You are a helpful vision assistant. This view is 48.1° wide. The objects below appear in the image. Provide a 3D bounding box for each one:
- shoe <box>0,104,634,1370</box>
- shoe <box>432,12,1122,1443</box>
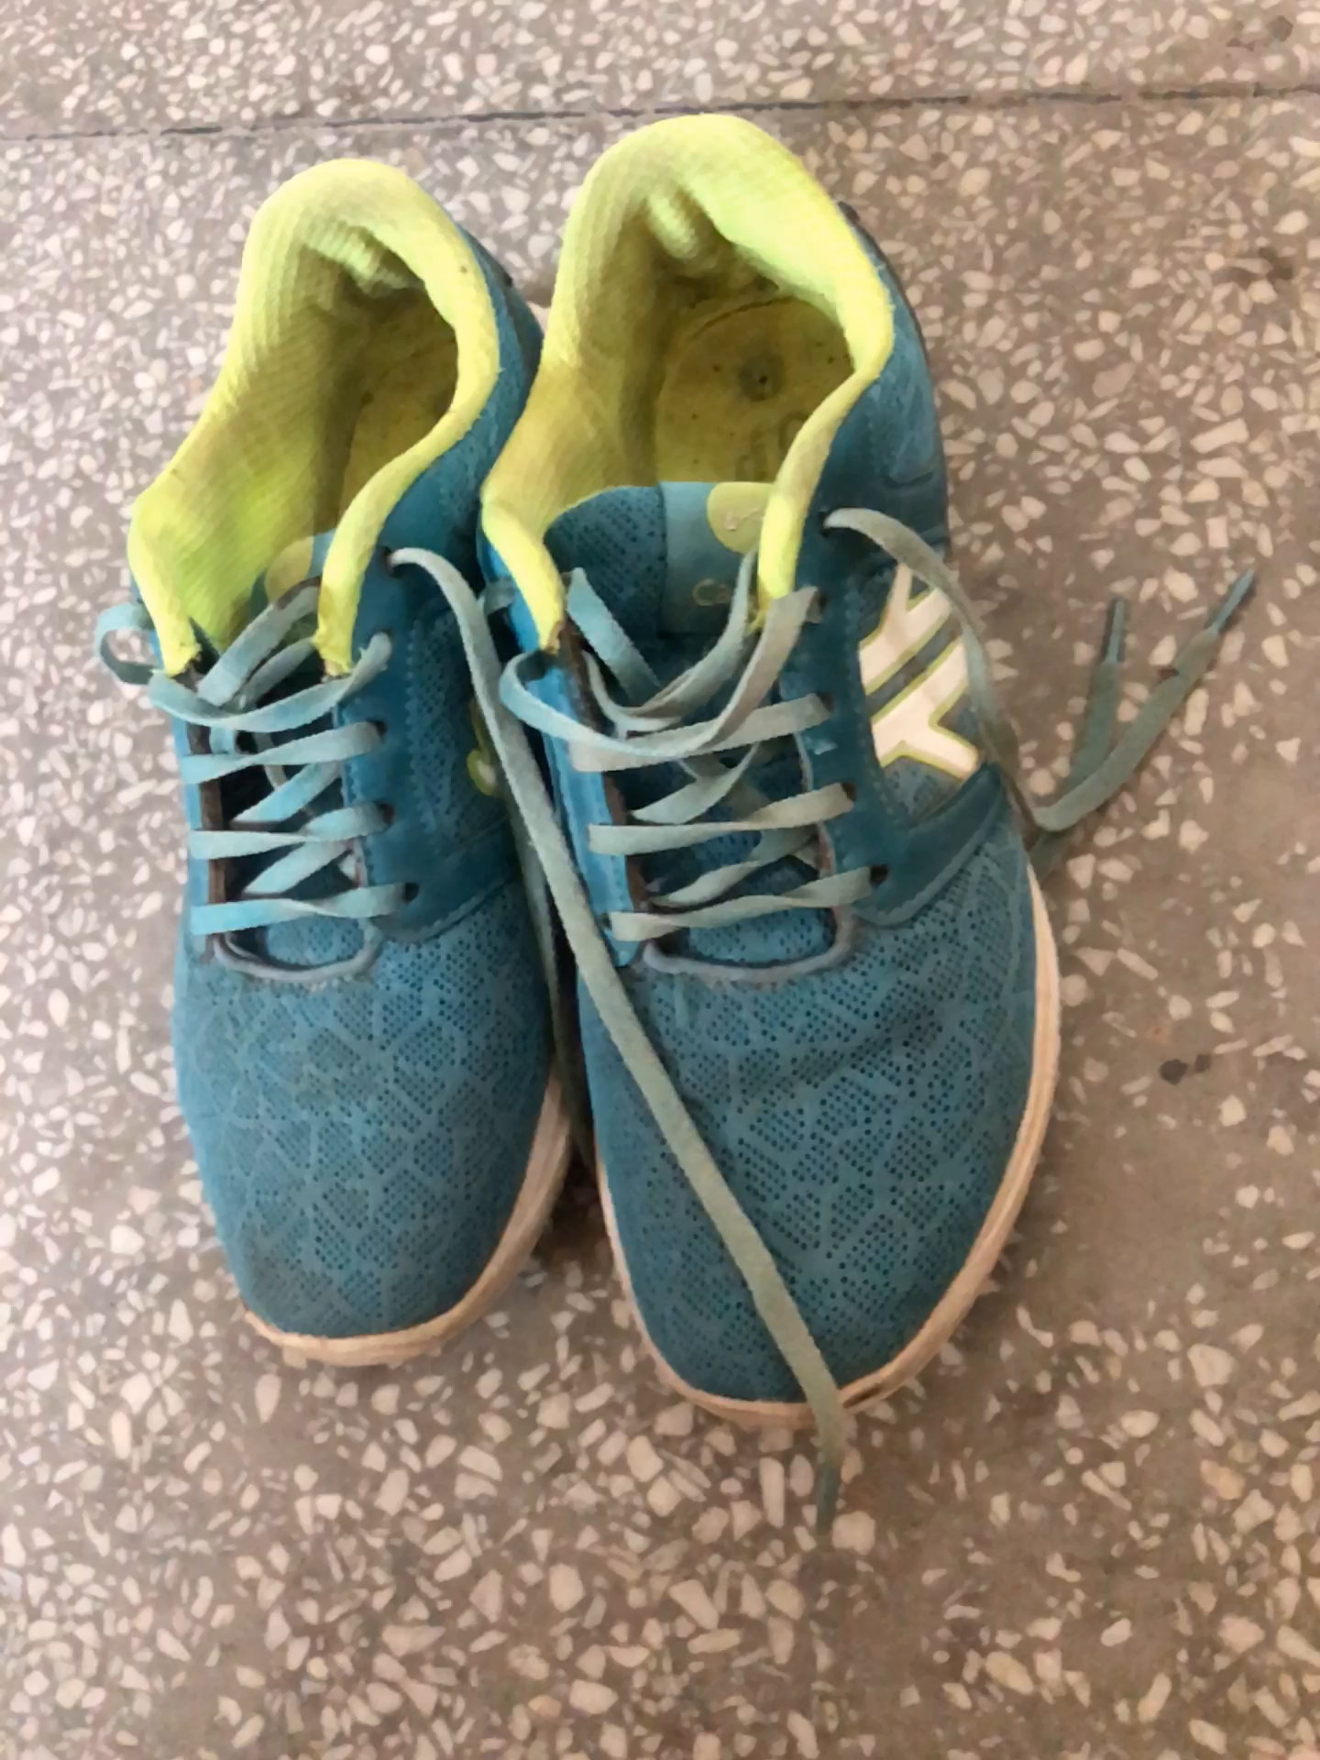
[{"bbox_3d":[-0.066,-0.022,0.307,0.091,0.091,0.230,-4,73,17],"label":"shoe"},{"bbox_3d":[0.023,-0.022,0.274,0.095,0.088,0.229,-6,73,17],"label":"shoe"}]
